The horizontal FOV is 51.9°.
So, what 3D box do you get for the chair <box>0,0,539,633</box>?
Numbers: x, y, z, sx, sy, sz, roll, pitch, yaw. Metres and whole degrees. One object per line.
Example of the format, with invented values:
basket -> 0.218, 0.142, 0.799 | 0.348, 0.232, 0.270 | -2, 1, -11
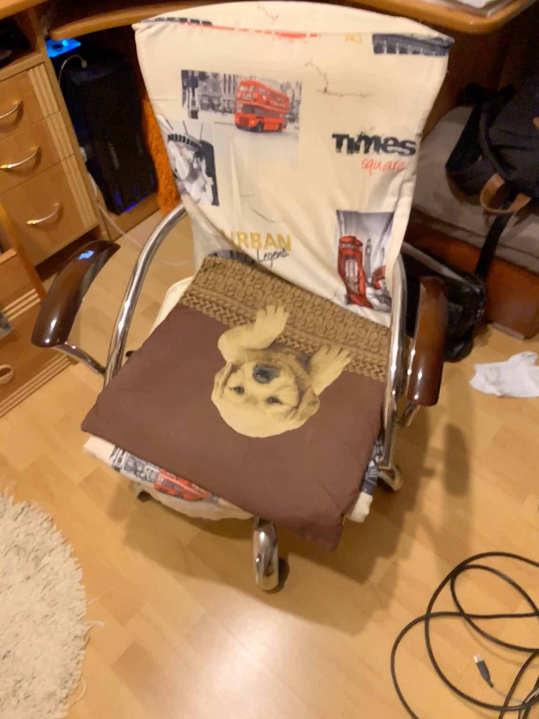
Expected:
chair -> 0.000, -0.035, 0.806 | 0.475, 0.665, 0.567 | 10, 53, 8
